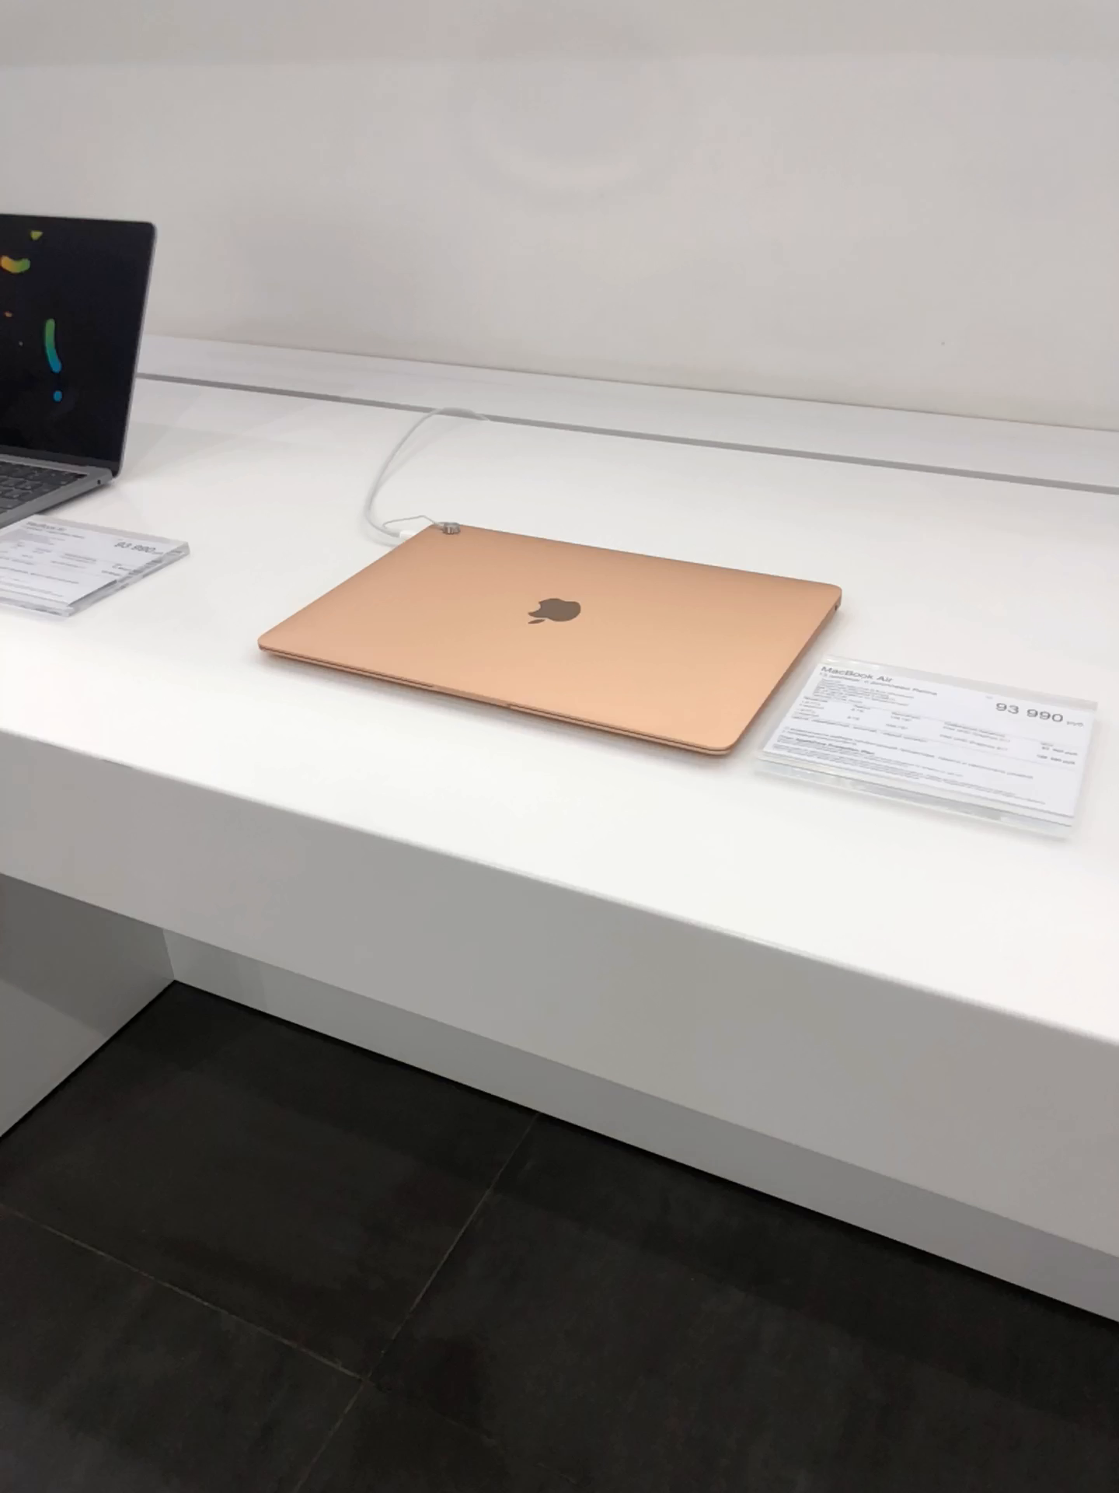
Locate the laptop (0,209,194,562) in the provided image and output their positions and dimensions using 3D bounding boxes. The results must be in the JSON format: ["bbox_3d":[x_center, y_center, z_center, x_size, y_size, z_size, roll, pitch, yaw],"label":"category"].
[{"bbox_3d":[-0.535,-0.313,0.999,0.303,0.180,0.313,12,34,24],"label":"laptop"}]

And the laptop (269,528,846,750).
[{"bbox_3d":[0.003,-0.078,0.750,0.293,0.005,0.202,12,34,24],"label":"laptop"}]
